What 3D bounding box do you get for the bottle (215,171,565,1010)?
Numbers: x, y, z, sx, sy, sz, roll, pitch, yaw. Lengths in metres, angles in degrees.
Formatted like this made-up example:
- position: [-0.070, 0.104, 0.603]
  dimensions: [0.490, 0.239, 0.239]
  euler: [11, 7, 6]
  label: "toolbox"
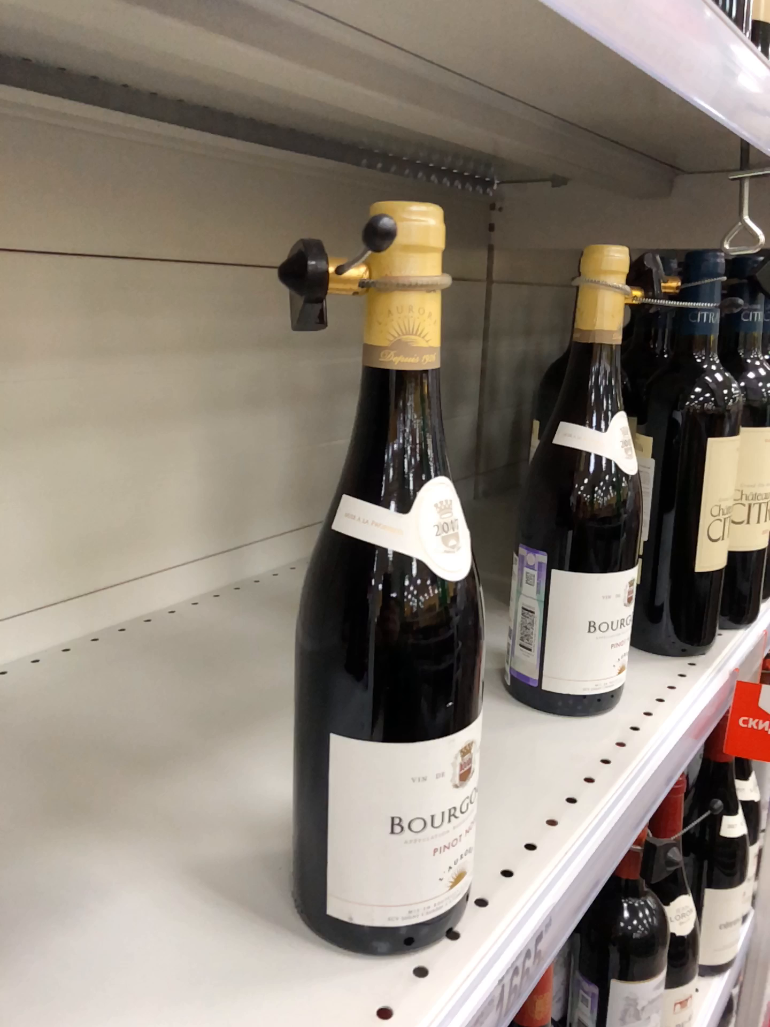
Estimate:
- position: [-0.001, 0.026, 0.339]
  dimensions: [0.090, 0.289, 0.090]
  euler: [2, 14, 0]
  label: "bottle"
